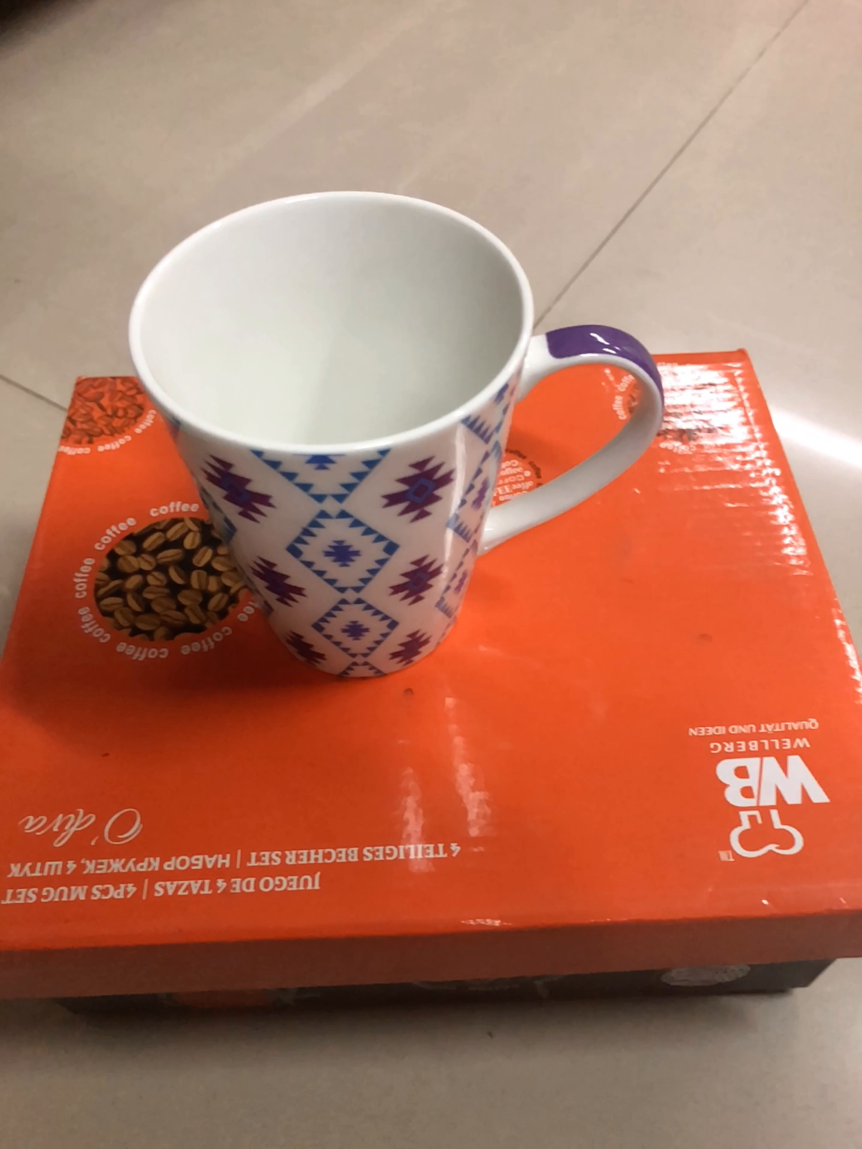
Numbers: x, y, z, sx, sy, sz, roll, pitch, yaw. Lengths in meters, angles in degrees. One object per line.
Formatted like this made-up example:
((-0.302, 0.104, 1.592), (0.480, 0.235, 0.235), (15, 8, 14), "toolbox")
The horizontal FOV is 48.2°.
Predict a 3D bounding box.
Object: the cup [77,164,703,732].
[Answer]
((-0.009, -0.026, 0.233), (0.110, 0.099, 0.080), (-5, 55, -2), "cup")
